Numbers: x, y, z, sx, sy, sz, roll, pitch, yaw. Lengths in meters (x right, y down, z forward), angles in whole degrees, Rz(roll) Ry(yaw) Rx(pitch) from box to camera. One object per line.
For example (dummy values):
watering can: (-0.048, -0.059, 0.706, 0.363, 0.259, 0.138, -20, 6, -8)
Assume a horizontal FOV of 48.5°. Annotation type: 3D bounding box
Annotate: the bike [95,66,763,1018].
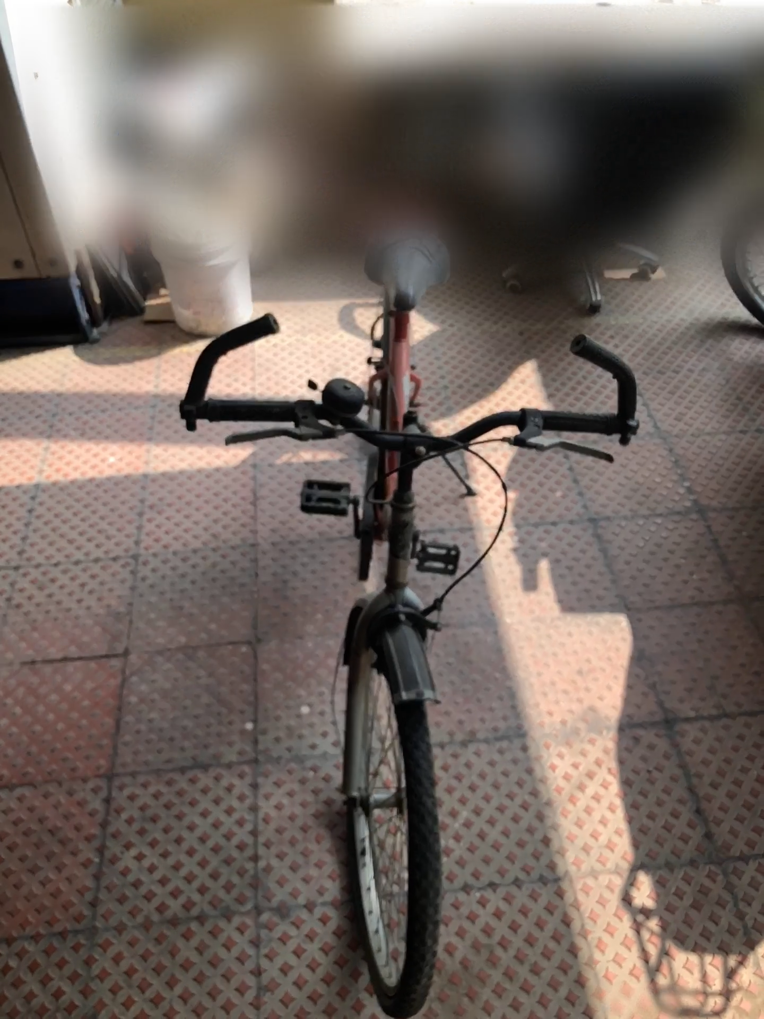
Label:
bike: (0.051, -0.035, 1.580, 0.575, 0.964, 1.619, 0, 46, -1)
